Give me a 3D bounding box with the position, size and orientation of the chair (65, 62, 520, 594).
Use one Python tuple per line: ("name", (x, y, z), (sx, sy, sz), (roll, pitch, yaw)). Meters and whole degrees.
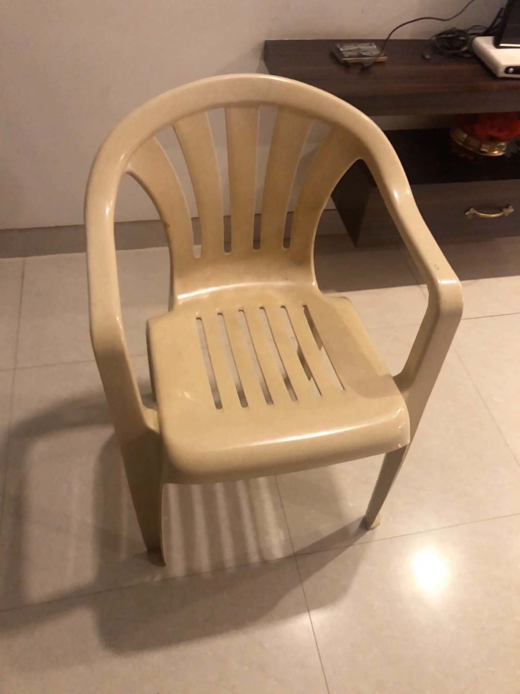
("chair", (-0.004, -0.015, 1.107), (0.570, 0.775, 0.594), (-8, 50, -12))
